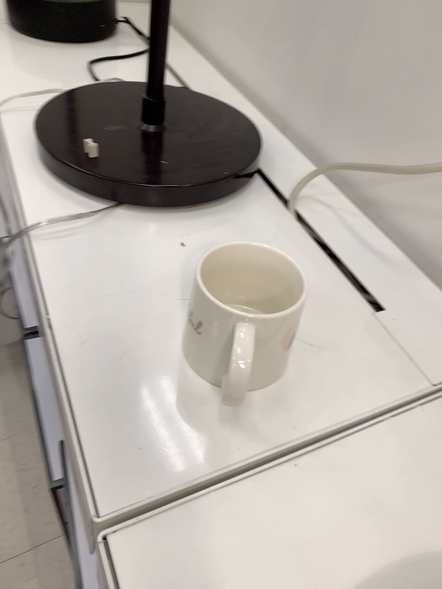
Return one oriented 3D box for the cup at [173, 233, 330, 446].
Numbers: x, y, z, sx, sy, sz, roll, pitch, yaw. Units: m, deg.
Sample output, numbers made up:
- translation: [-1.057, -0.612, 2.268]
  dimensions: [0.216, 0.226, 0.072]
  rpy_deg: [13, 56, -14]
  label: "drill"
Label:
- translation: [0.027, 0.035, 0.397]
  dimensions: [0.104, 0.097, 0.140]
  rpy_deg: [11, 42, 1]
  label: "cup"
